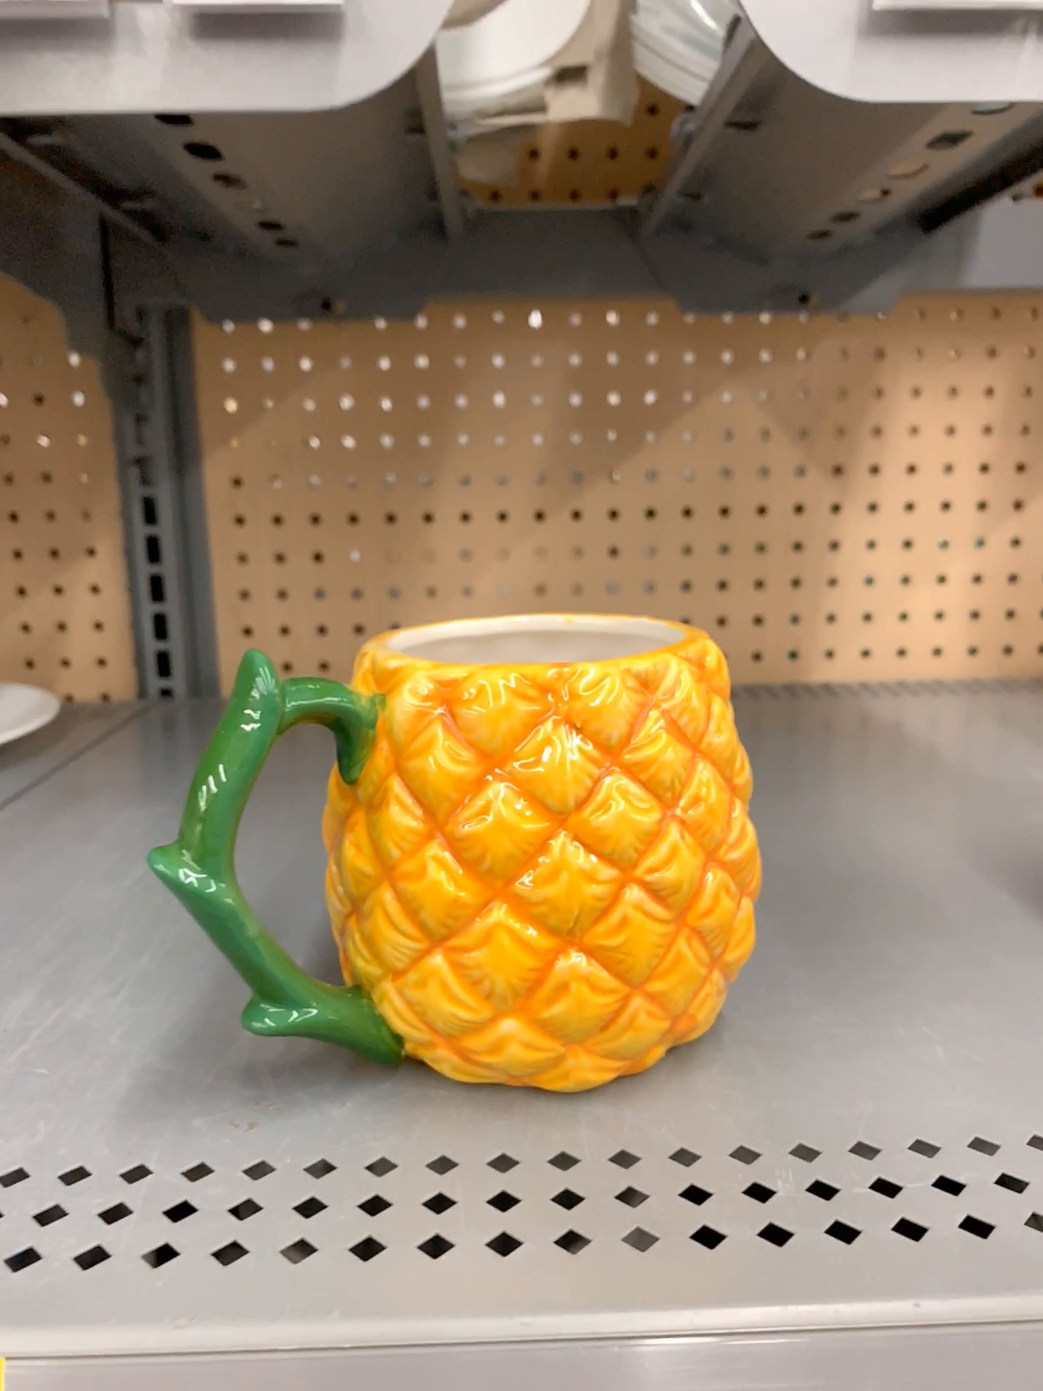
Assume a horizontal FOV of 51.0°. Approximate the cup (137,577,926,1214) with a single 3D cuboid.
[{"bbox_3d":[-0.001,0.029,0.269,0.160,0.100,0.100,-6,12,-24],"label":"cup"}]
